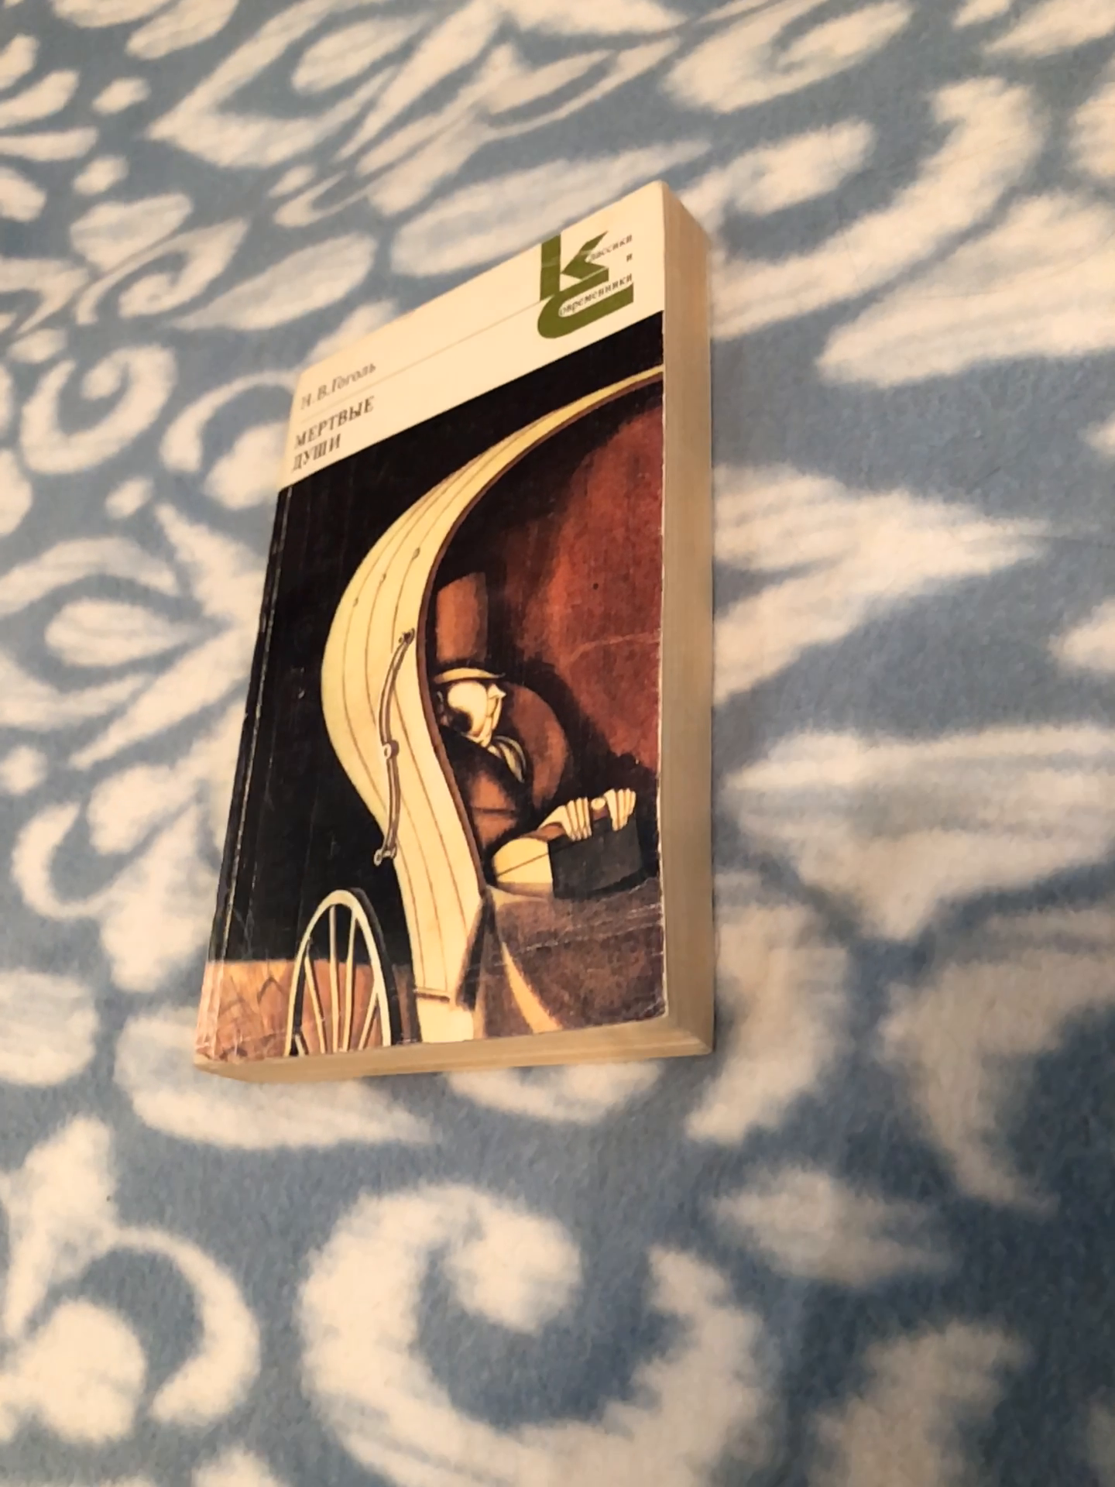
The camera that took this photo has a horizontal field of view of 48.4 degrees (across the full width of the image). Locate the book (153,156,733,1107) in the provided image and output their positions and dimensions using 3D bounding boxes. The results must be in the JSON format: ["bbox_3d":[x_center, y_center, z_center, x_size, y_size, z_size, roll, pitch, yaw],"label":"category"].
[{"bbox_3d":[-0.025,-0.025,0.282,0.126,0.025,0.199,-15,60,32],"label":"book"}]
